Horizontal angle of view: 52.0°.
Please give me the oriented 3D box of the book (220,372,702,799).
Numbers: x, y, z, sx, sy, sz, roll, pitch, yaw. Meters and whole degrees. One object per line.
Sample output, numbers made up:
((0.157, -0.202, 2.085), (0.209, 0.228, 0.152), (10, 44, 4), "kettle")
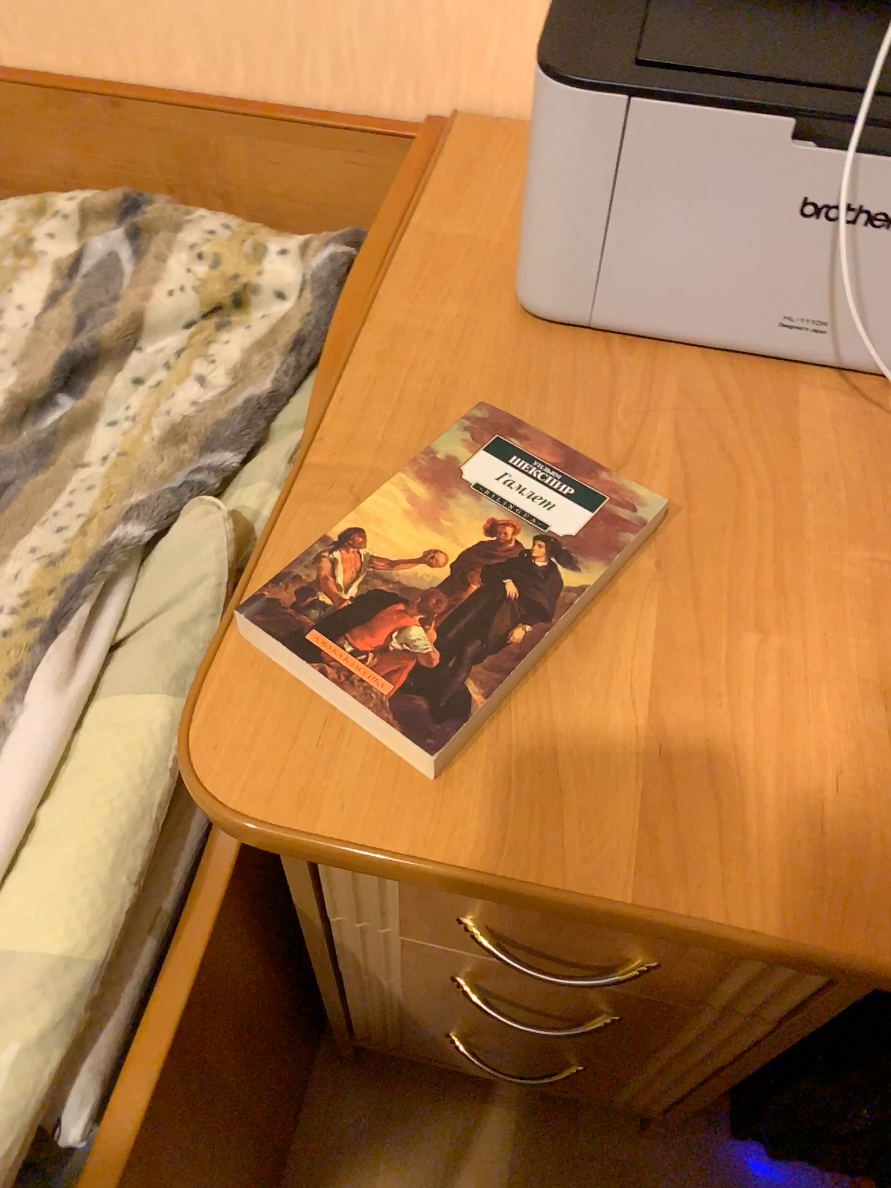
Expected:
((0.012, -0.017, 0.416), (0.120, 0.030, 0.191), (34, 59, 22), "book")
